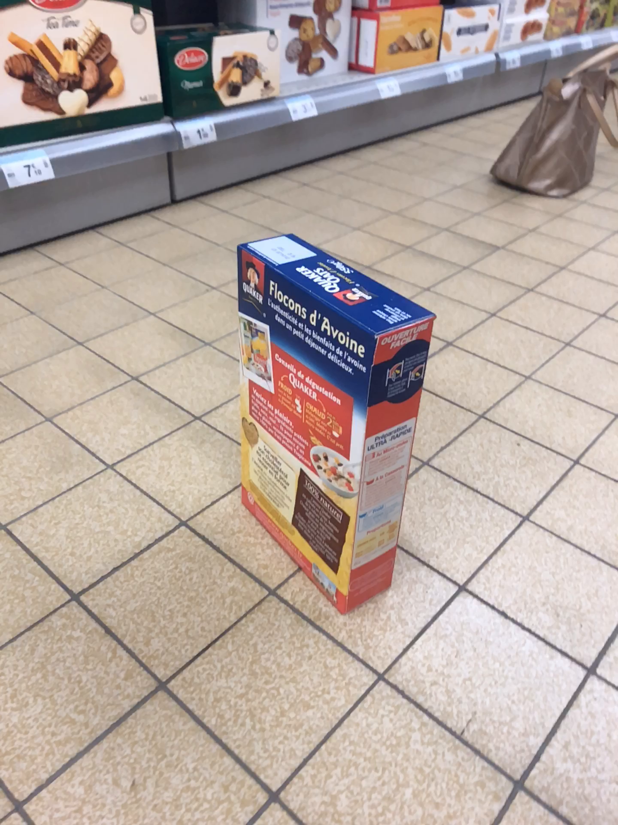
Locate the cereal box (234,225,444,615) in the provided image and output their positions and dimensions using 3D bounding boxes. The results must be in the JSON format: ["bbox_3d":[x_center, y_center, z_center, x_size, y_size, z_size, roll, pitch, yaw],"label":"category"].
[{"bbox_3d":[0.009,0.008,0.472,0.050,0.228,0.140,-21,42,-30],"label":"cereal box"}]
